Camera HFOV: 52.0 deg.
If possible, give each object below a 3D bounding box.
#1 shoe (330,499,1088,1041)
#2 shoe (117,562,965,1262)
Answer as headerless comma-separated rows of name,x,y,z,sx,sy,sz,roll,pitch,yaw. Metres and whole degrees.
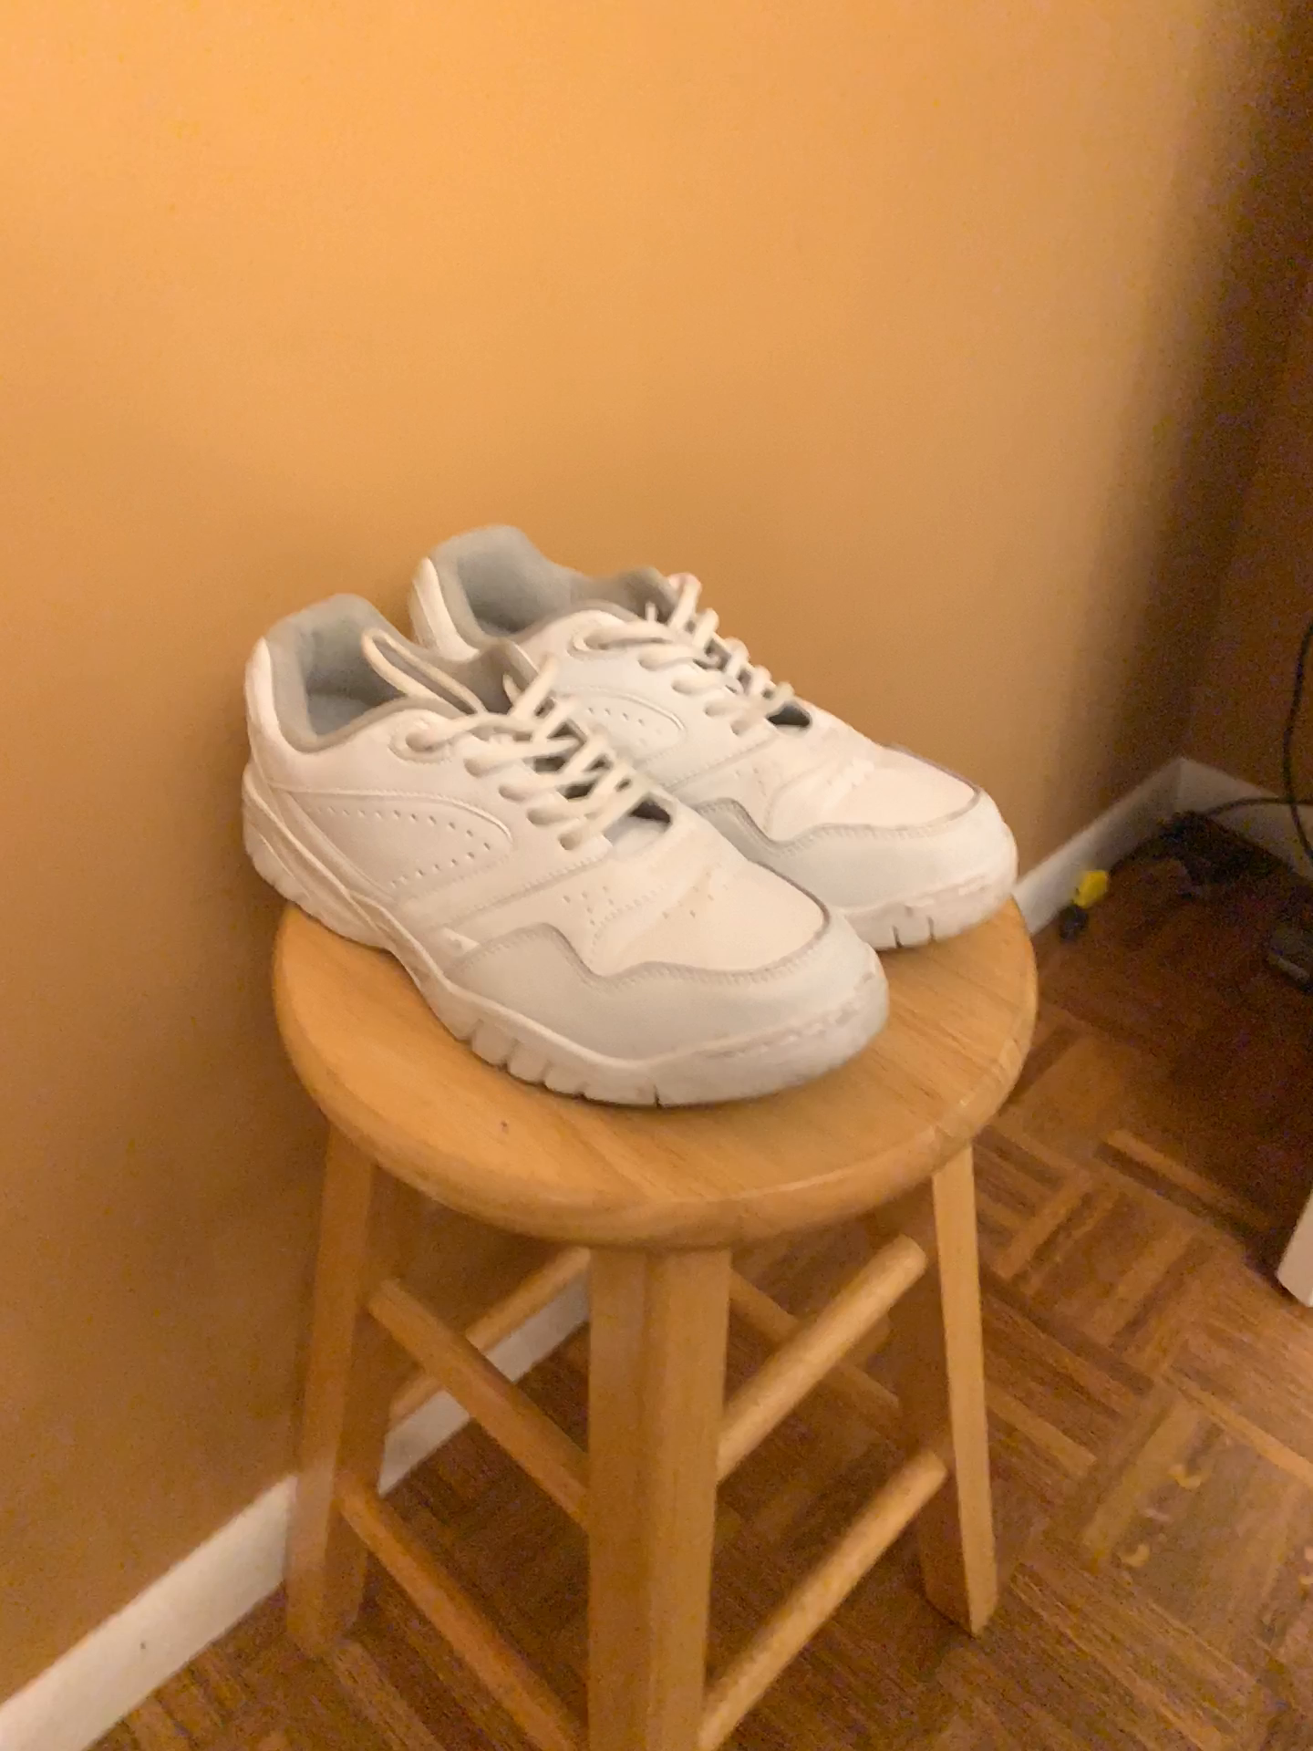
shoe,0.016,-0.057,0.555,0.270,0.109,0.120,20,41,25
shoe,-0.048,-0.007,0.489,0.271,0.109,0.130,26,43,30
